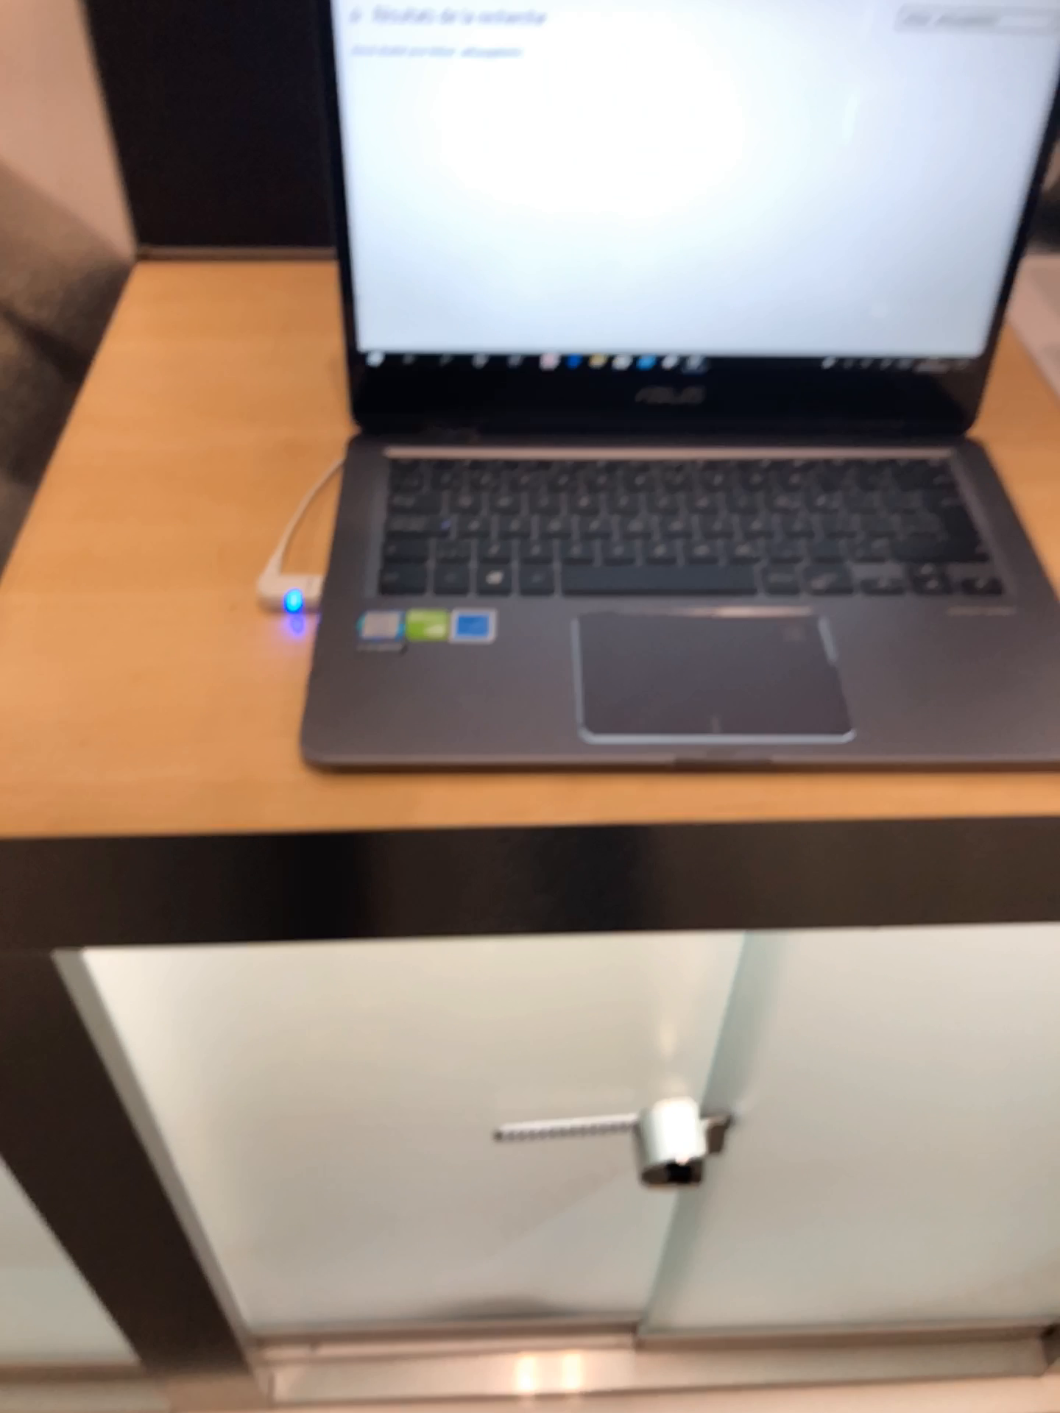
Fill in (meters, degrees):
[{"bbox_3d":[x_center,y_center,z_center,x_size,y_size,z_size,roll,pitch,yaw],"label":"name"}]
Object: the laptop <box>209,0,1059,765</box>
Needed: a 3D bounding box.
[{"bbox_3d":[0.075,-0.141,0.465,0.320,0.224,0.240,0,46,-2],"label":"laptop"}]
